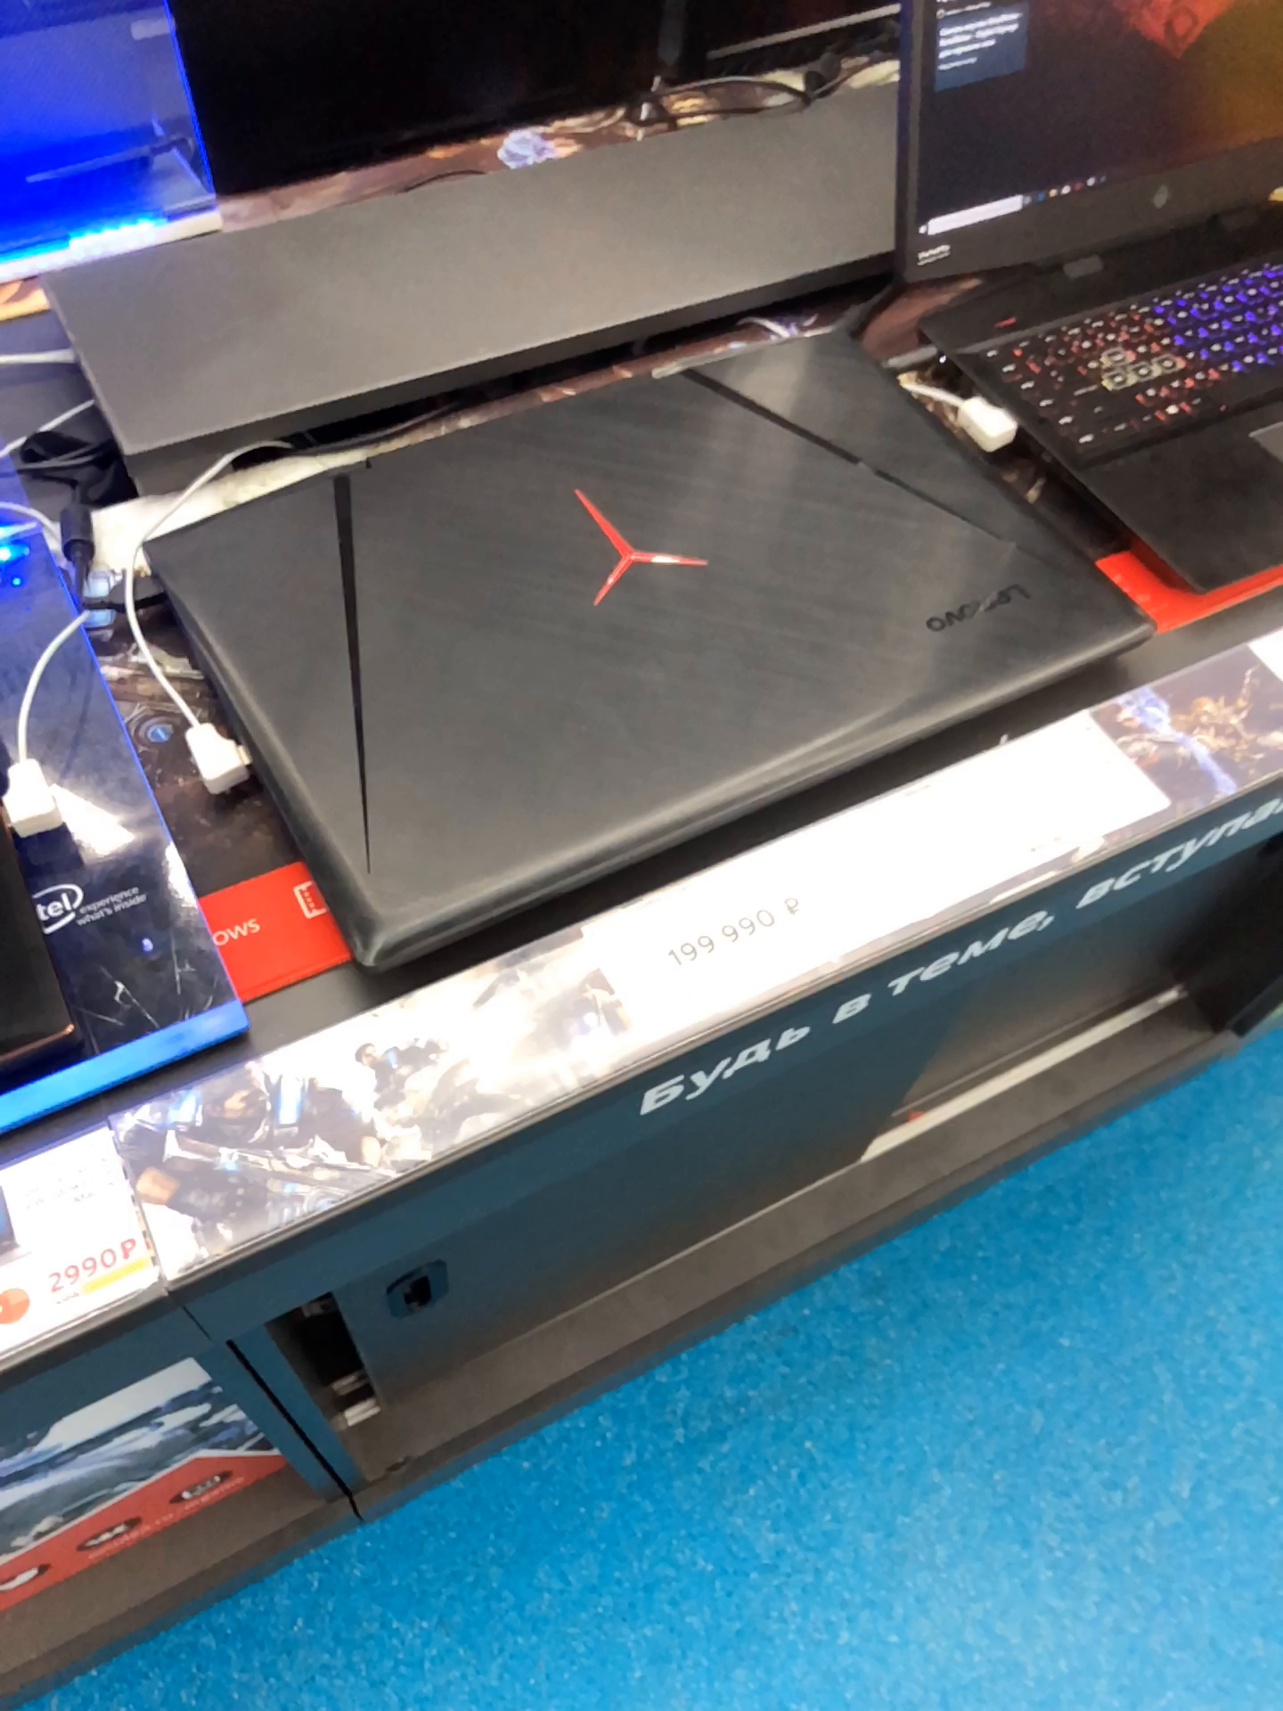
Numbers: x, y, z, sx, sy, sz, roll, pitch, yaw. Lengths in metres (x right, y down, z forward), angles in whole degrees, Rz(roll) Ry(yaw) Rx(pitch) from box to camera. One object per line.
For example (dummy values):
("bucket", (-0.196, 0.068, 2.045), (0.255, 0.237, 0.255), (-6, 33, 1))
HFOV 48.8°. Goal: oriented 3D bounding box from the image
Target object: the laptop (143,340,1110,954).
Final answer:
("laptop", (-0.009, -0.133, 0.704), (0.400, 0.005, 0.270), (-24, 57, -19))
